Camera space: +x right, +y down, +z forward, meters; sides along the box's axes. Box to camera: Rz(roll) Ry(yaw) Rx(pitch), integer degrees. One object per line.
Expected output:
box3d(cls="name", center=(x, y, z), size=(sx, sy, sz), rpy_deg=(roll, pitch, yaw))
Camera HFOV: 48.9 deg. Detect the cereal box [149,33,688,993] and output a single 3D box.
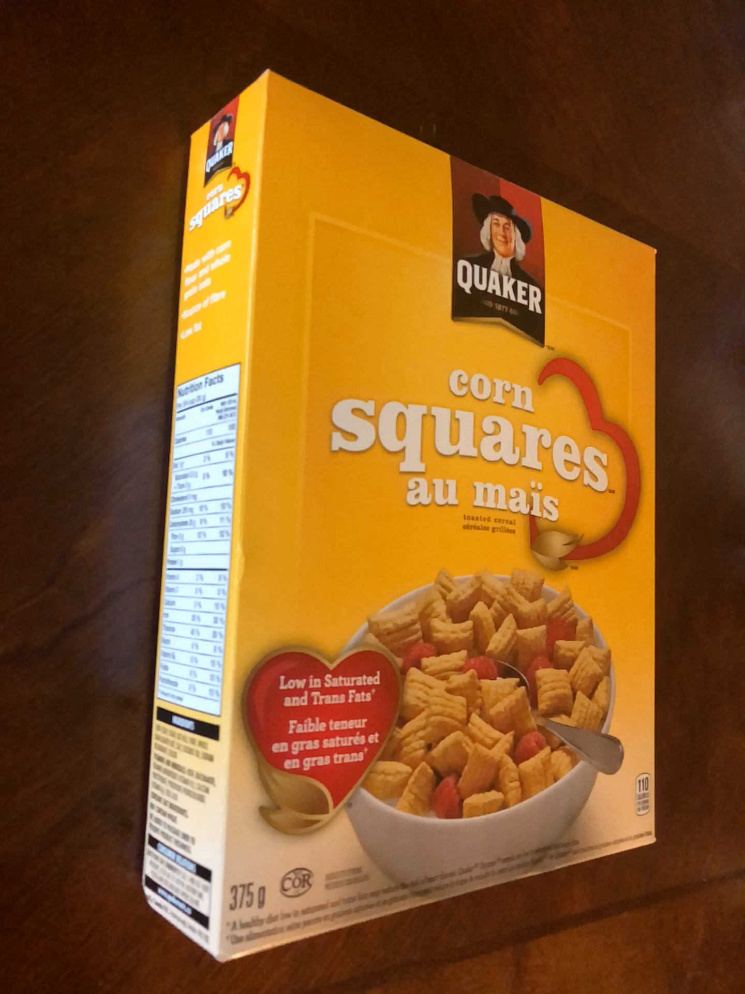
box3d(cls="cereal box", center=(0.038, 0.011, 0.312), size=(0.221, 0.050, 0.270), rpy_deg=(7, 82, -39))
